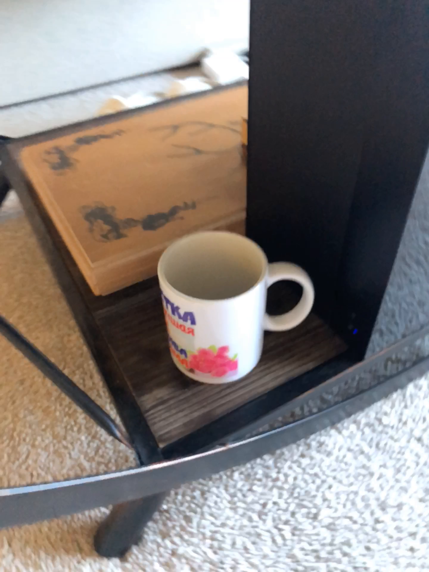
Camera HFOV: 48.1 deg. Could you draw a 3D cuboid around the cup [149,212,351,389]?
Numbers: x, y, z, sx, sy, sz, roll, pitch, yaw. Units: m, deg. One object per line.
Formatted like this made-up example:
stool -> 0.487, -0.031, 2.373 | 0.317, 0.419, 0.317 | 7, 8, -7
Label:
cup -> 0.023, 0.012, 0.400 | 0.140, 0.100, 0.090 | -5, 44, -4
